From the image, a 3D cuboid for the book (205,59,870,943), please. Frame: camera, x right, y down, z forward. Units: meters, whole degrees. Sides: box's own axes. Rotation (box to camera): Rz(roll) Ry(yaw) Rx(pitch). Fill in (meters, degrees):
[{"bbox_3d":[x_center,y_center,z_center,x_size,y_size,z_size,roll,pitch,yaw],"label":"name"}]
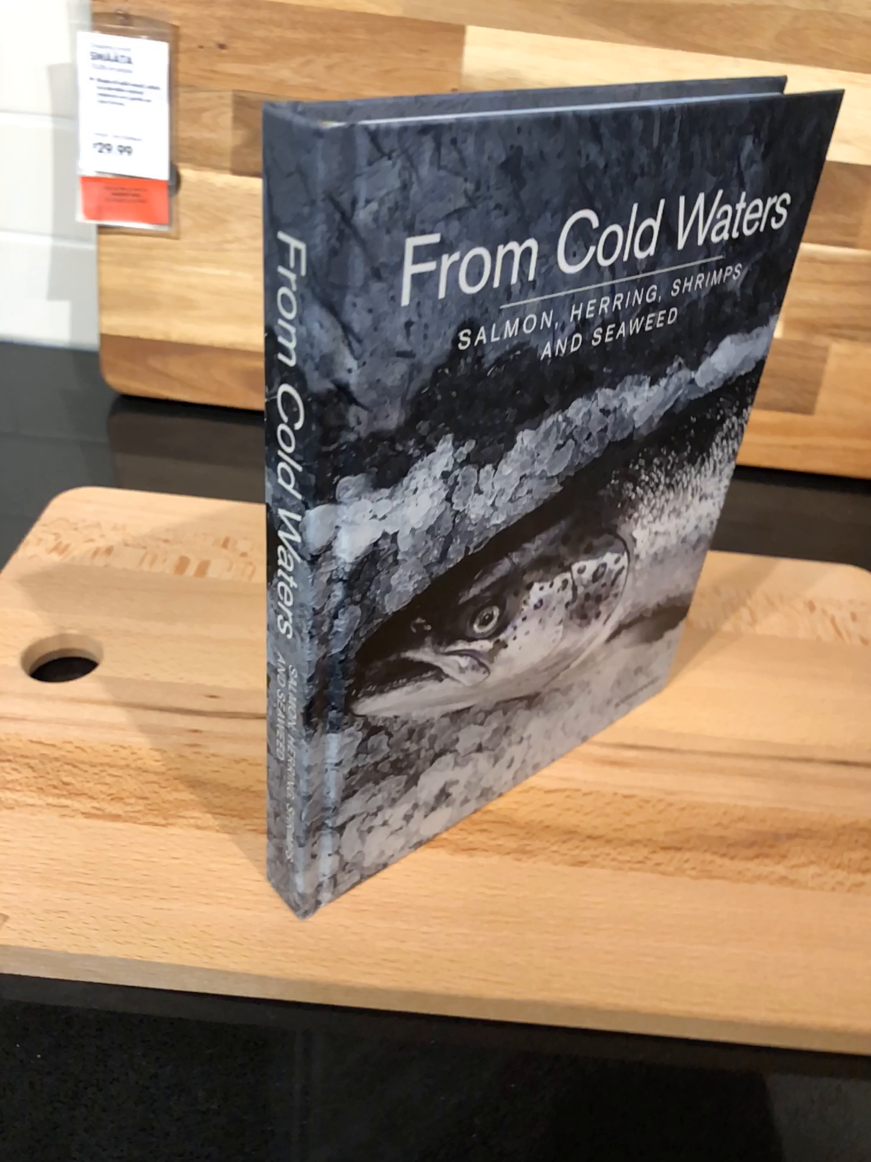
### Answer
[{"bbox_3d":[0.038,-0.028,0.289,0.213,0.219,0.029,-24,44,-36],"label":"book"}]
